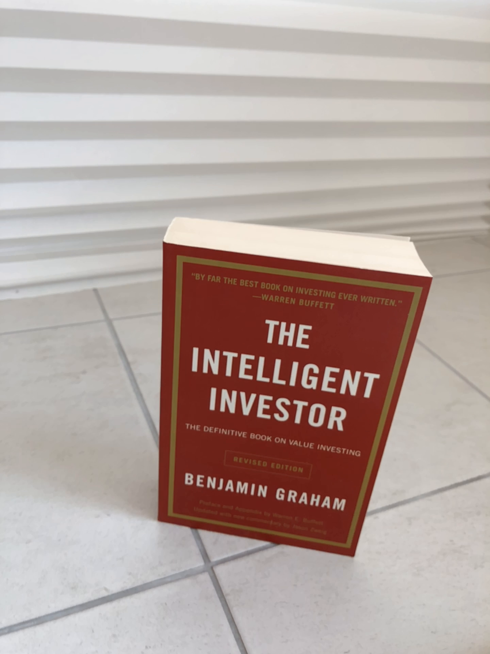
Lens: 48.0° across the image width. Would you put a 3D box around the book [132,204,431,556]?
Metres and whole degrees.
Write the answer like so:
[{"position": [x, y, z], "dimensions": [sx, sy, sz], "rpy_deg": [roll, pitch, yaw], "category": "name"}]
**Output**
[{"position": [0.012, 0.040, 0.347], "dimensions": [0.149, 0.206, 0.057], "rpy_deg": [8, 30, 5], "category": "book"}]
